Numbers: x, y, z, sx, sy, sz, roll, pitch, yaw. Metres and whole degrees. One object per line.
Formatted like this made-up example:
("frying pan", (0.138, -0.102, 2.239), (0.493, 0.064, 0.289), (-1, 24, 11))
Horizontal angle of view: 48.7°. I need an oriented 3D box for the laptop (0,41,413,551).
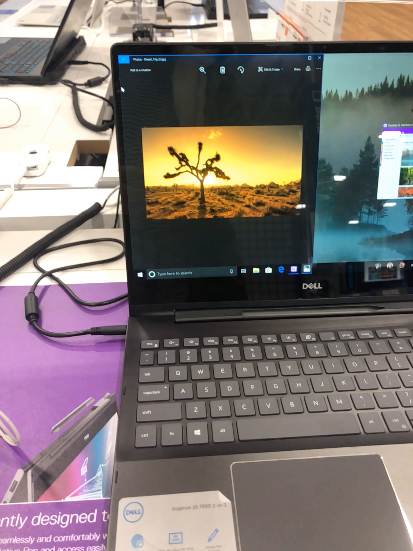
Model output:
("laptop", (0.108, -0.009, 0.310), (0.341, 0.207, 0.325), (-2, 38, -4))
